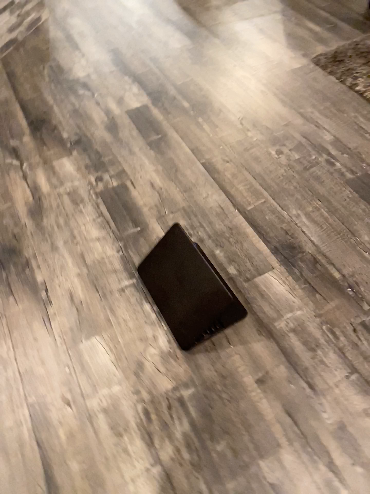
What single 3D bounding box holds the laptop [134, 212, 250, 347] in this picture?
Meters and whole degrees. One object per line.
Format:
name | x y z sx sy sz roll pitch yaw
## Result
laptop | 0.016 0.101 1.282 0.230 0.170 0.353 -27 57 -14
